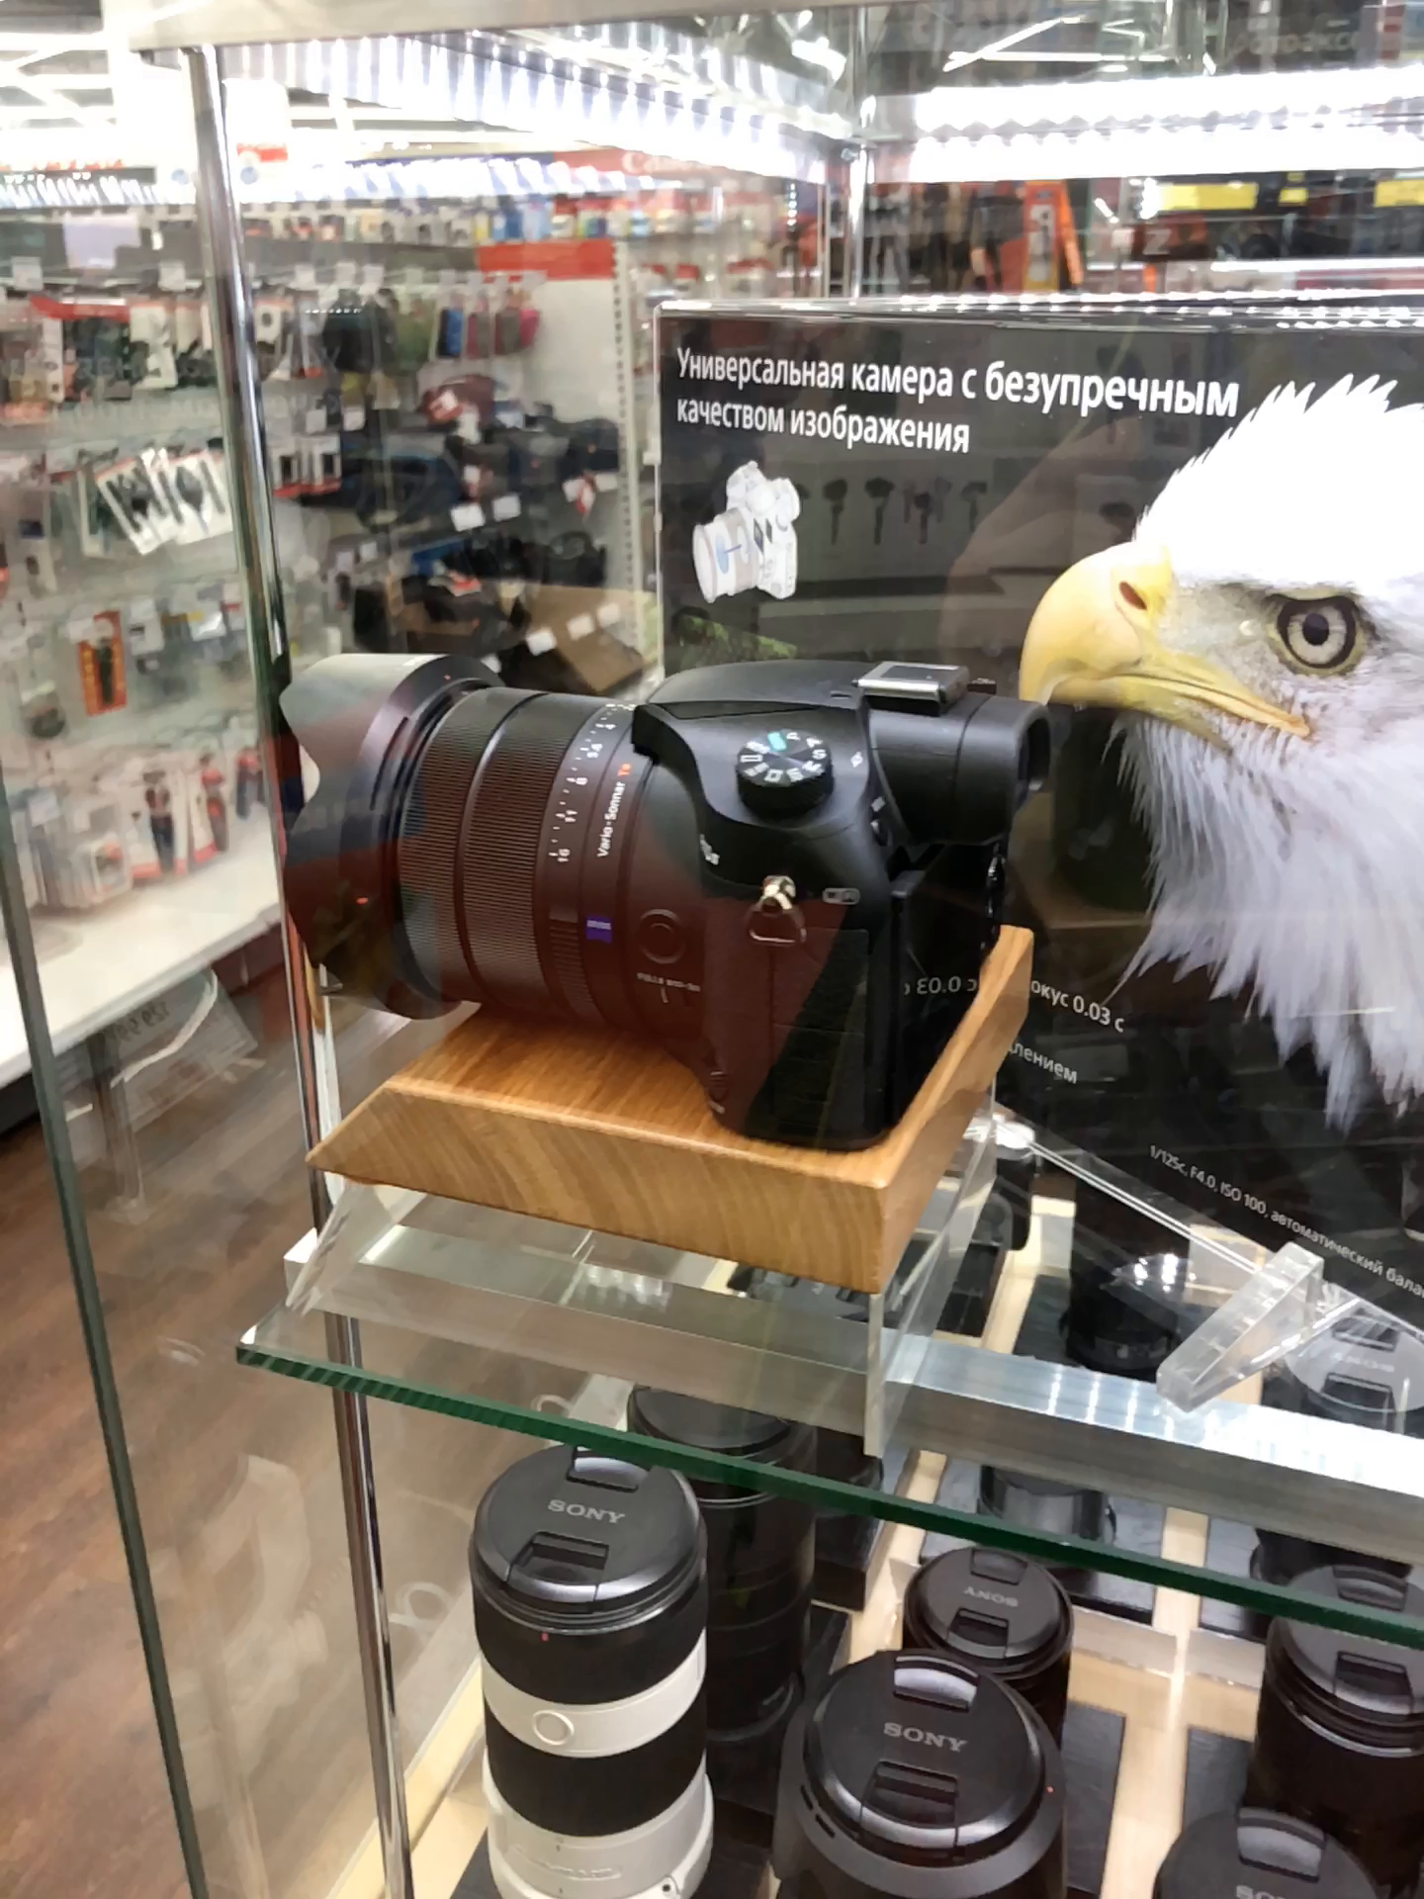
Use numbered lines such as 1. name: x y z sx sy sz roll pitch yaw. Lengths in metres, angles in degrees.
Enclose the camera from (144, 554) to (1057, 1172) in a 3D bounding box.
1. camera: -0.019 -0.035 0.389 0.178 0.099 0.127 8 24 20
